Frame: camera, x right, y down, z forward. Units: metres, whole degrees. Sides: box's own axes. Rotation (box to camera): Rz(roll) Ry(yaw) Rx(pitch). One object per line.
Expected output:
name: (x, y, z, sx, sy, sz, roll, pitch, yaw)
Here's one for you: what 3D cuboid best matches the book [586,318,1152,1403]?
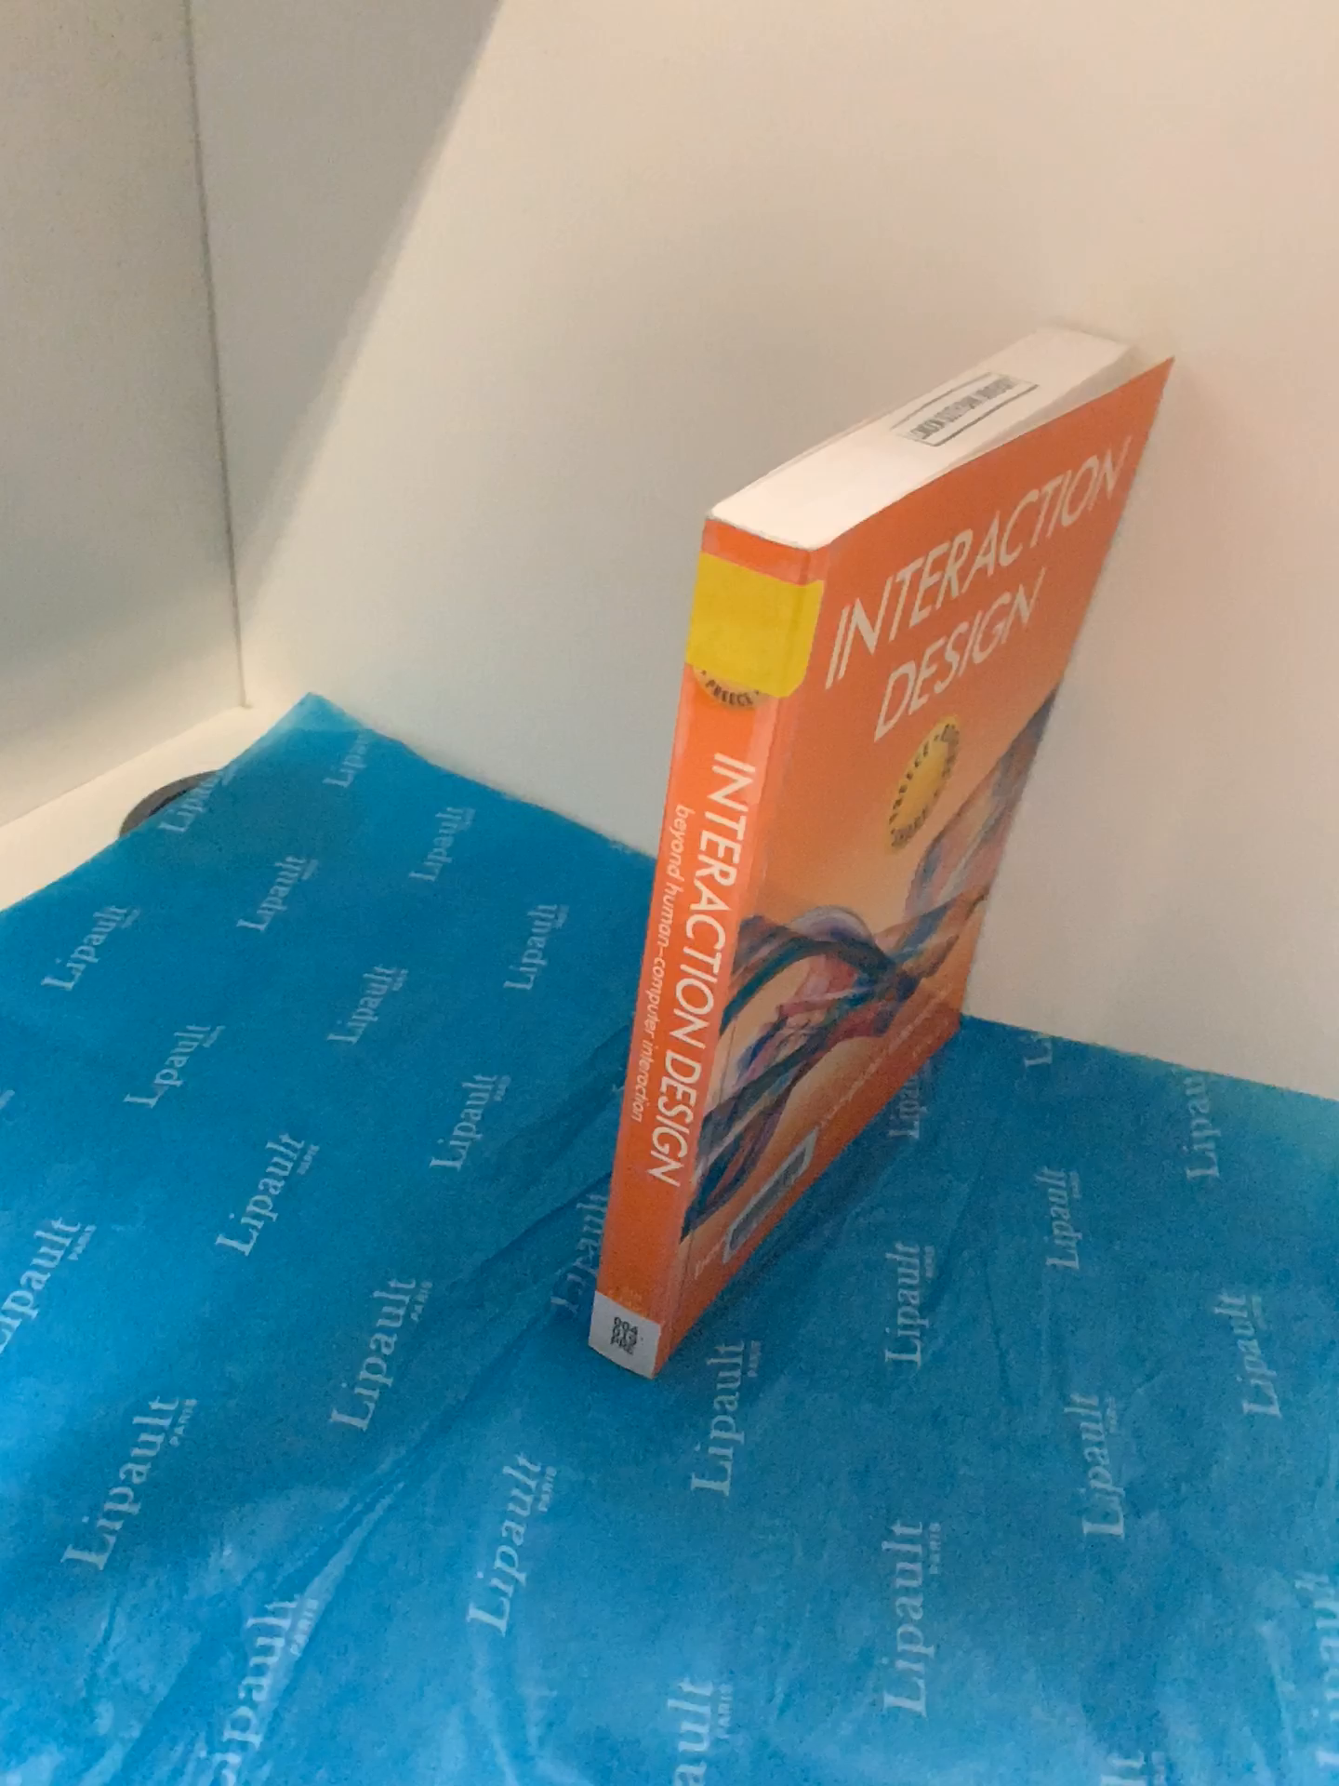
book: (0.054, -0.010, 0.382, 0.030, 0.247, 0.196, 24, 40, 20)
